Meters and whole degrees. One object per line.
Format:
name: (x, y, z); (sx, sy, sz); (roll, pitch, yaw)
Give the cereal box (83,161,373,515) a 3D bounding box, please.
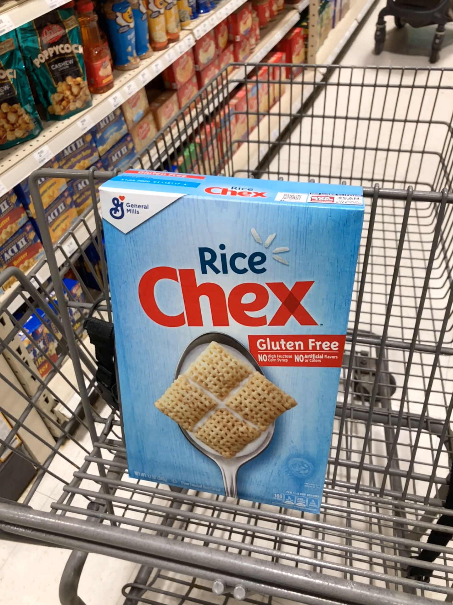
cereal box: (0.000, 0.038, 0.431); (0.200, 0.290, 0.060); (7, 28, 11)
